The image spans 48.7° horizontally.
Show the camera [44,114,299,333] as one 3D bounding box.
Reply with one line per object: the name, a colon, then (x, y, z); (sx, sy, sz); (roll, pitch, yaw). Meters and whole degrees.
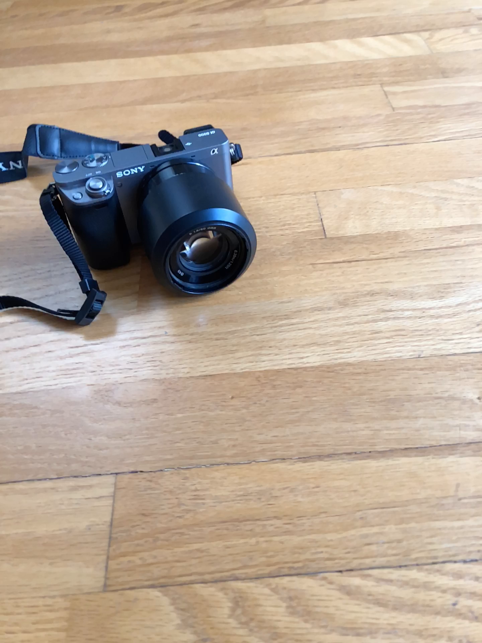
camera: (-0.048, -0.072, 0.362); (0.140, 0.060, 0.110); (-18, 50, -10)
